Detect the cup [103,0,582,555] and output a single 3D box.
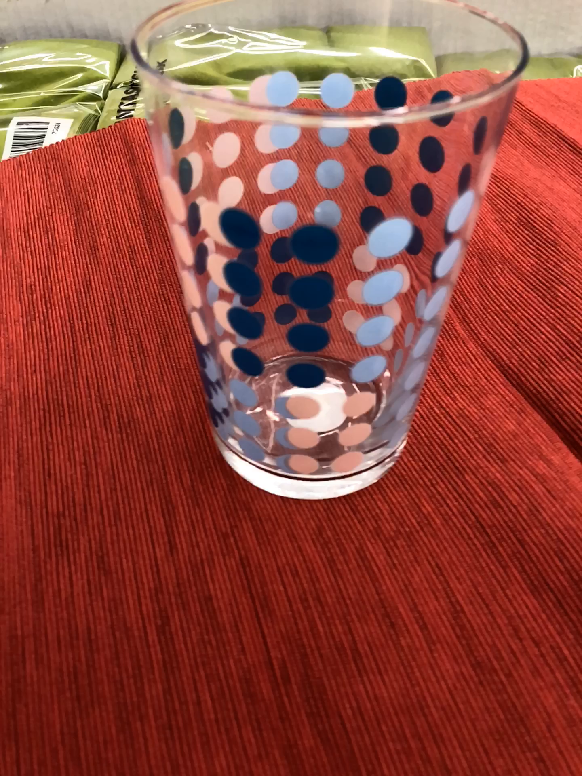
[{"bbox_3d":[0.011,-0.035,0.178,0.090,0.120,0.090,-1,45,1],"label":"cup"}]
